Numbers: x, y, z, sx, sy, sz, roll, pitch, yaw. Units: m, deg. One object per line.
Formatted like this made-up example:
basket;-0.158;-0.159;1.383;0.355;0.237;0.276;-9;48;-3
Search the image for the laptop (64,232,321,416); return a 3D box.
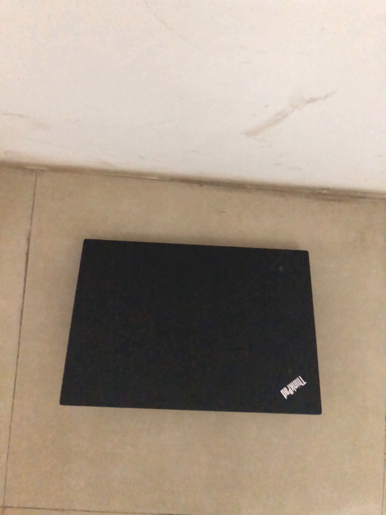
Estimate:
laptop;0.001;0.096;0.631;0.349;0.071;0.236;3;88;-1
